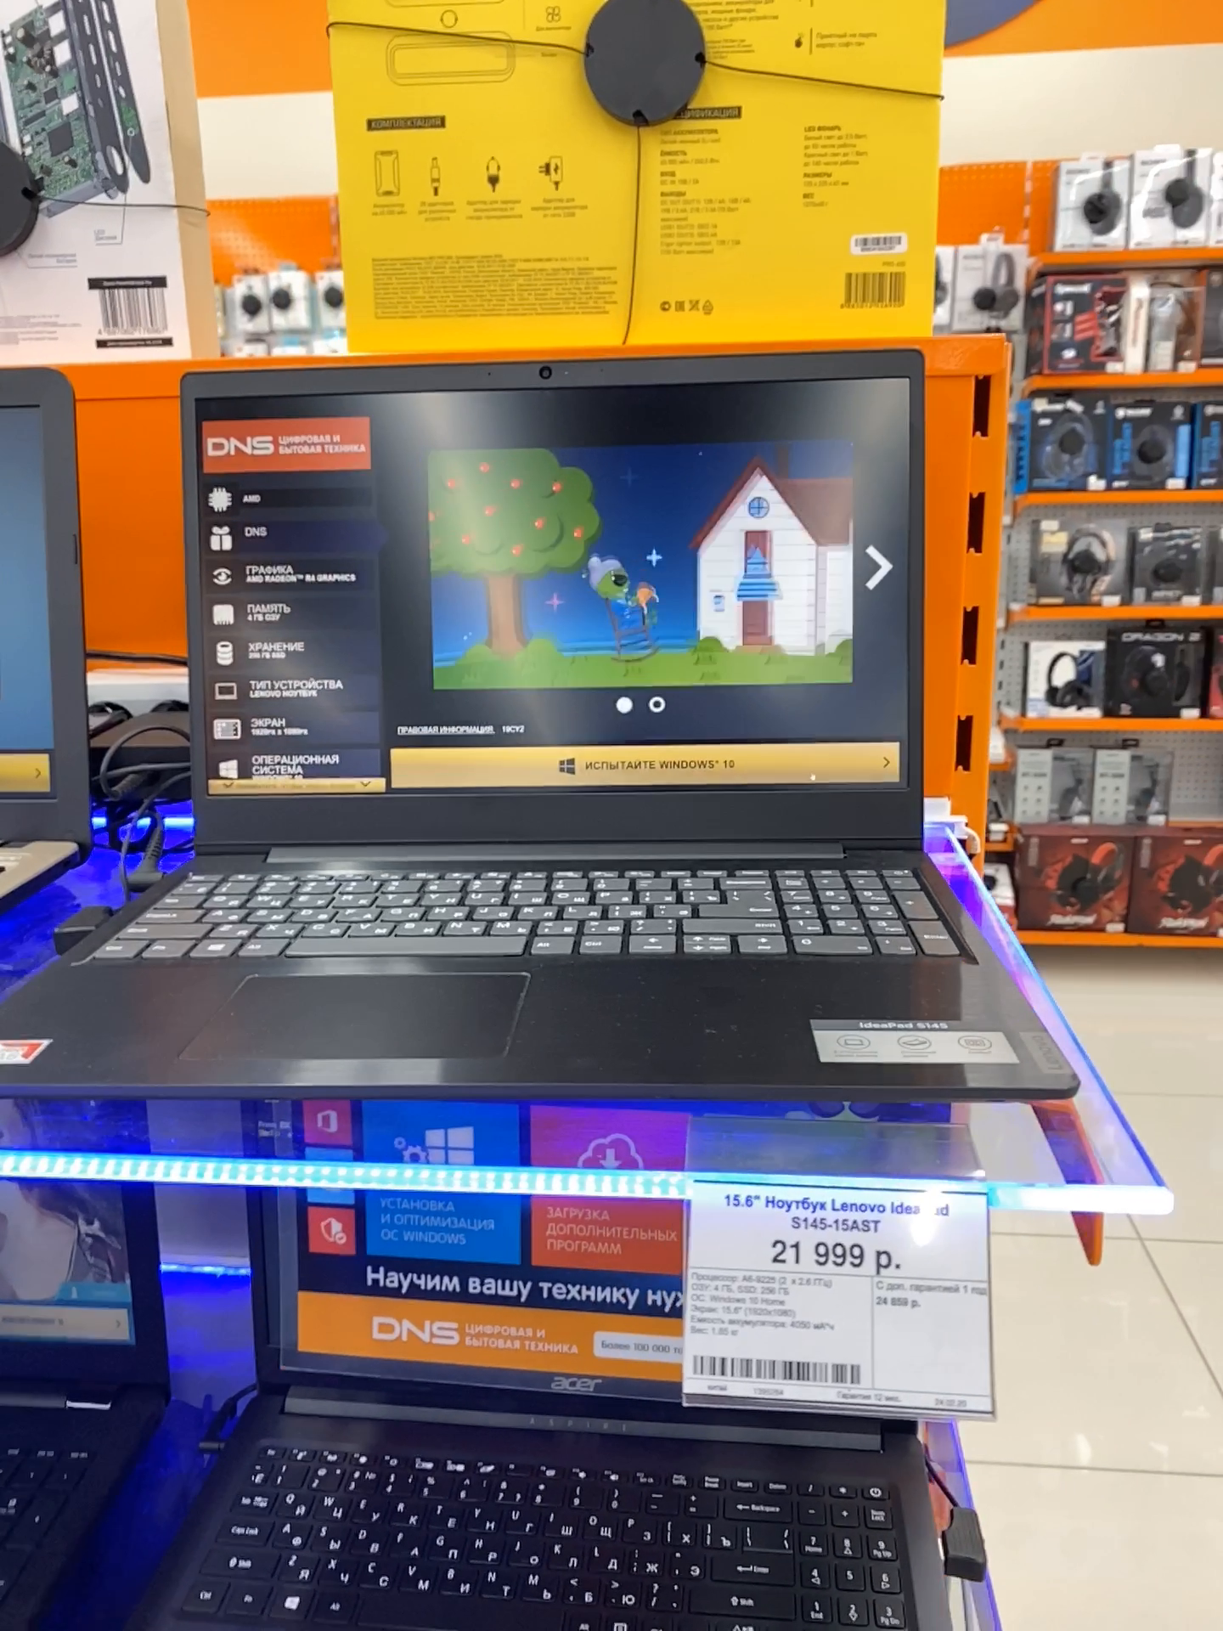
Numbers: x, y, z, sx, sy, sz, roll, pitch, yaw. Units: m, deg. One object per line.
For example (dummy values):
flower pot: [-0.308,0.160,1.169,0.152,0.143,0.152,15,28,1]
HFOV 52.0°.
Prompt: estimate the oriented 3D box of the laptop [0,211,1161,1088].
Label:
laptop: [-0.033,-0.070,0.492,0.358,0.233,0.298,-1,14,4]
